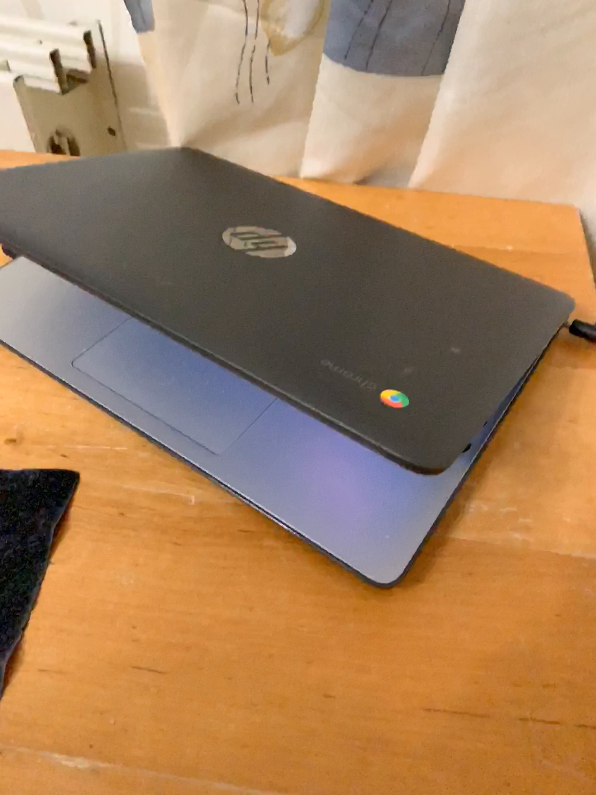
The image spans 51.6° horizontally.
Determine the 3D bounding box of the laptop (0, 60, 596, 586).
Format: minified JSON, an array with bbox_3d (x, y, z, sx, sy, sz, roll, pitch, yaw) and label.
[{"bbox_3d":[-0.019,-0.070,0.308,0.268,0.066,0.191,29,55,22],"label":"laptop"}]
